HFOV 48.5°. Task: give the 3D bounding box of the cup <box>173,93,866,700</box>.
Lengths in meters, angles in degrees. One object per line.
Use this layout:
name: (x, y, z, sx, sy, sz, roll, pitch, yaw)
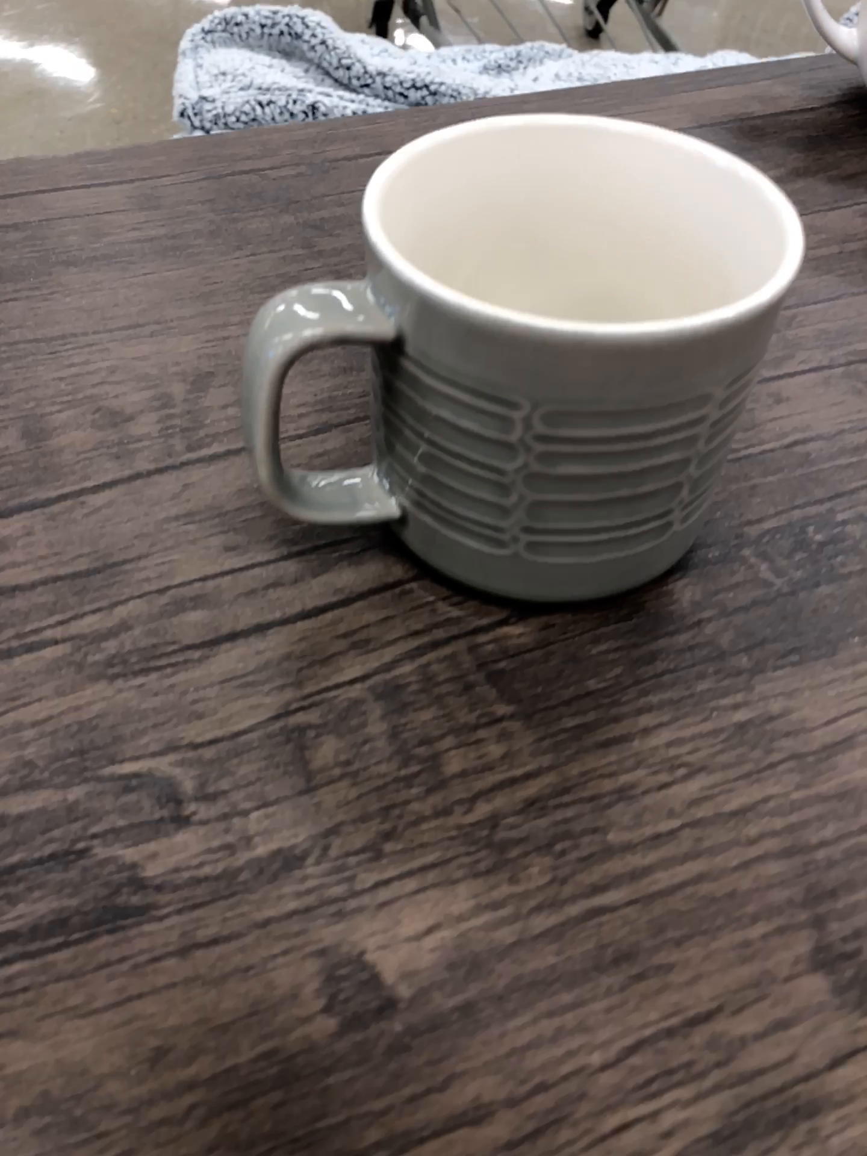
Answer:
cup: (0.018, -0.049, 0.240, 0.140, 0.090, 0.100, -10, 49, -11)
